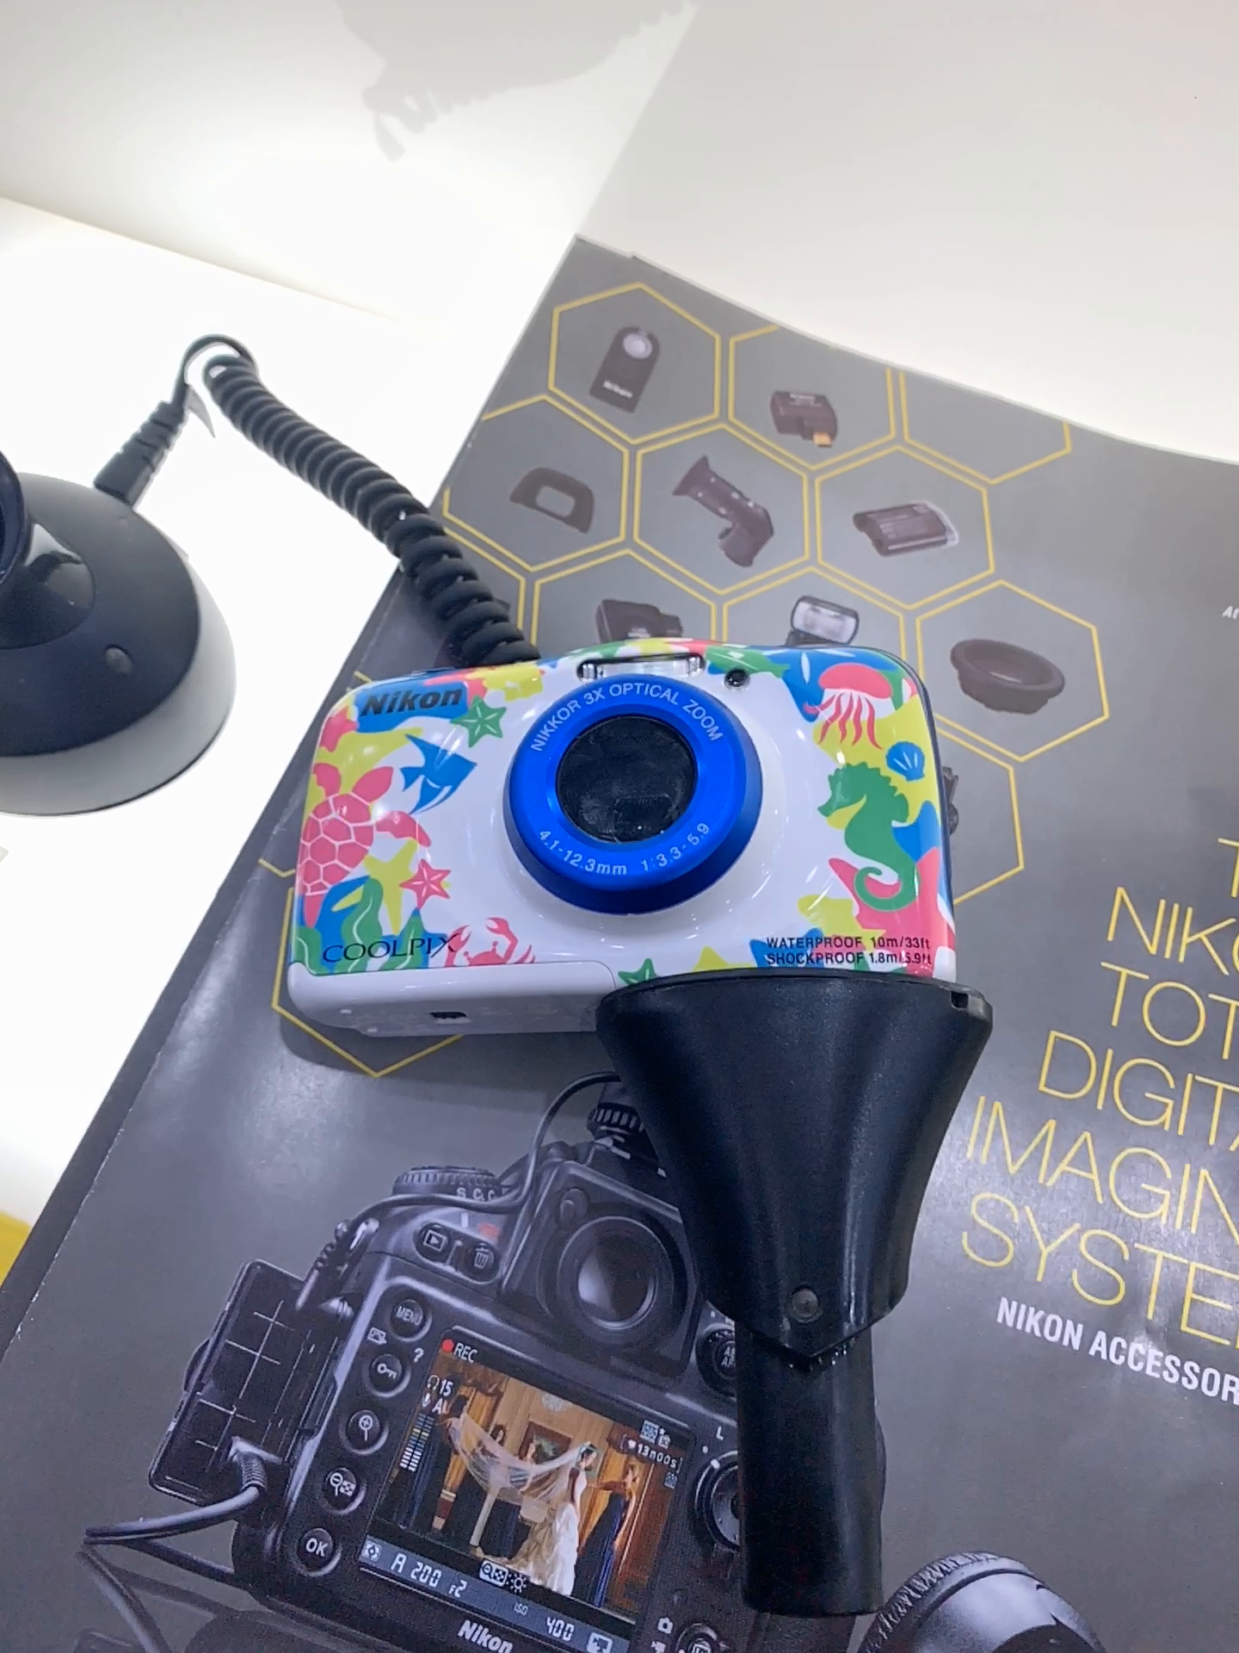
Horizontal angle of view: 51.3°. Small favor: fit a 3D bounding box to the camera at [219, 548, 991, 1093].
[{"bbox_3d":[-0.001,-0.001,0.214,0.110,0.030,0.080,-3,61,8],"label":"camera"}]
